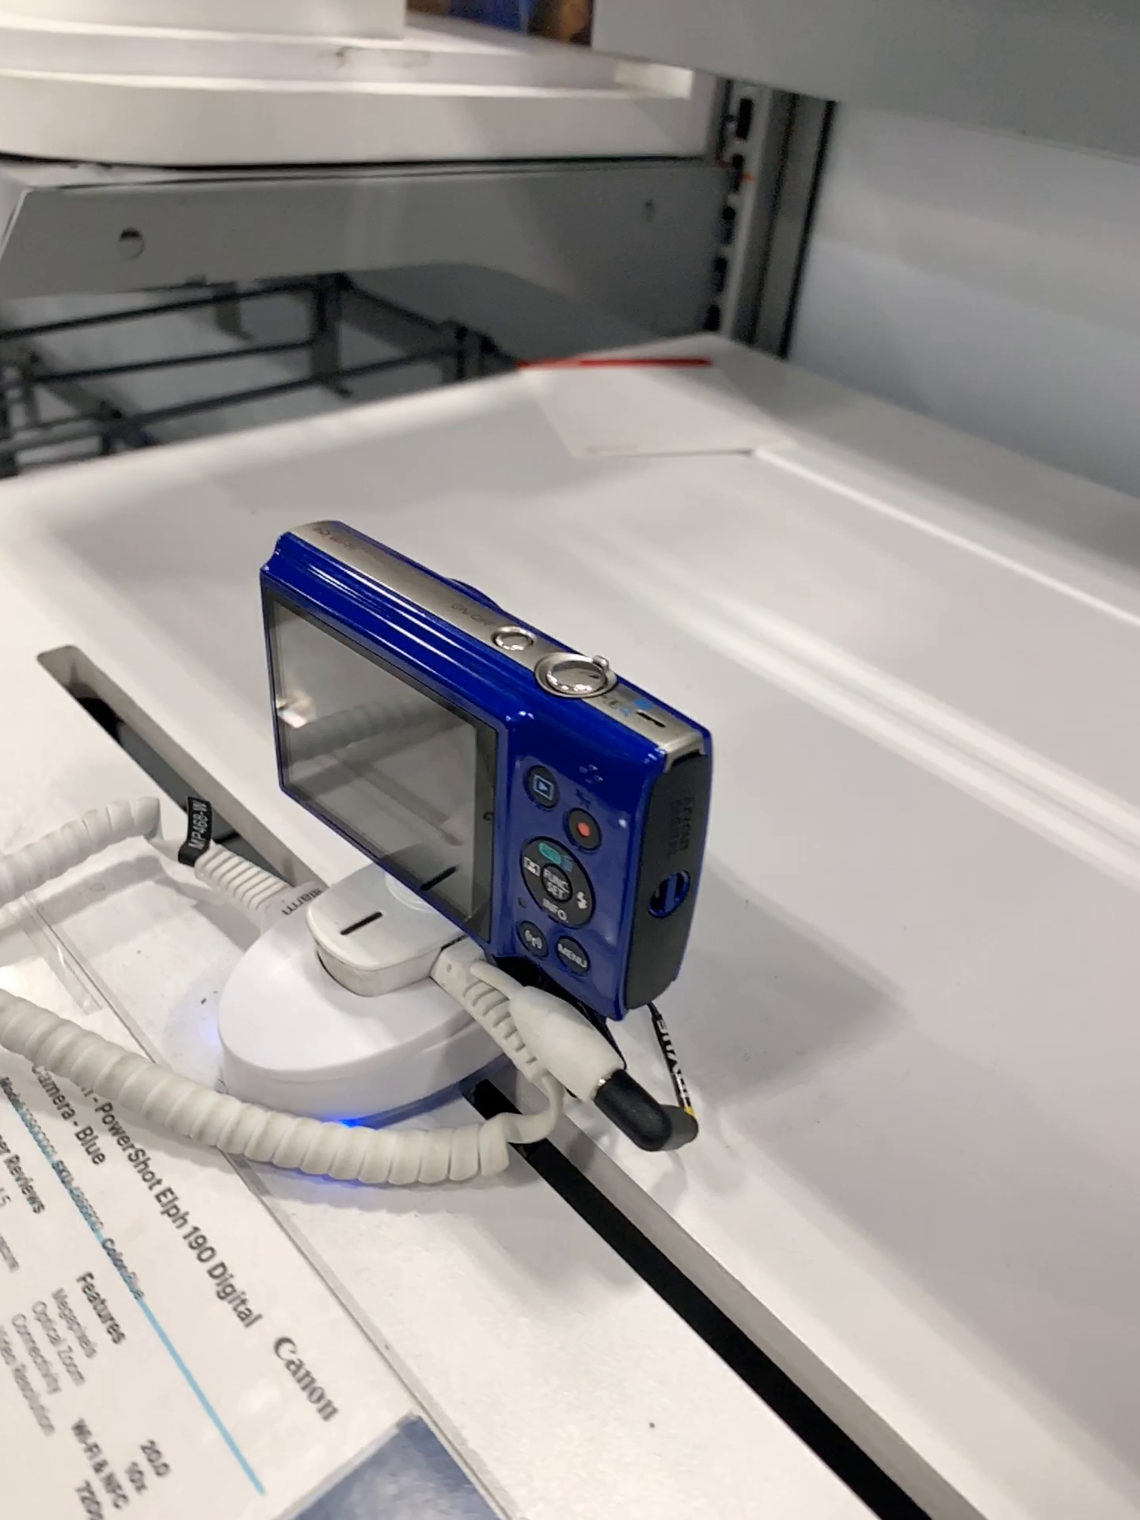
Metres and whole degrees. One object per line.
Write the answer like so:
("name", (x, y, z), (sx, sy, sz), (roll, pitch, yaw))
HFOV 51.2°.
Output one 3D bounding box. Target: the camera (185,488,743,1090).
("camera", (-0.023, 0.001, 0.208), (0.100, 0.060, 0.027), (32, 46, 30))
